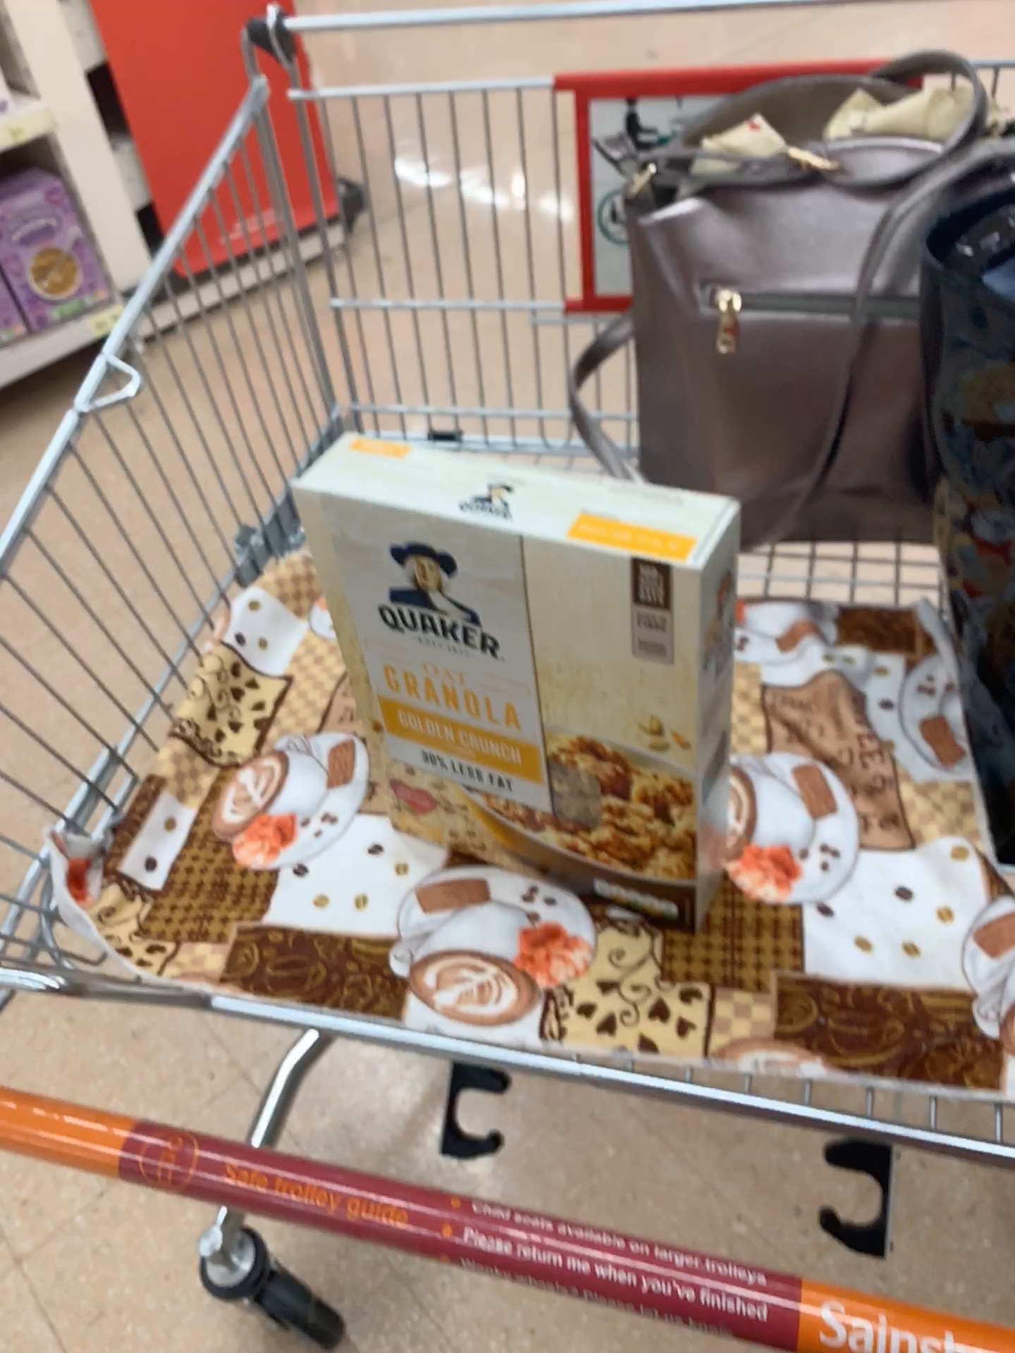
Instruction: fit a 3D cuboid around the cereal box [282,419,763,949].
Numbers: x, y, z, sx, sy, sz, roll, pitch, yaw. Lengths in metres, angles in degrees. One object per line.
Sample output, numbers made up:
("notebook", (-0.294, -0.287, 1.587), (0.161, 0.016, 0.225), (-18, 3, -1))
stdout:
("cereal box", (0.015, 0.012, 0.527), (0.200, 0.258, 0.050), (14, 47, 23))
